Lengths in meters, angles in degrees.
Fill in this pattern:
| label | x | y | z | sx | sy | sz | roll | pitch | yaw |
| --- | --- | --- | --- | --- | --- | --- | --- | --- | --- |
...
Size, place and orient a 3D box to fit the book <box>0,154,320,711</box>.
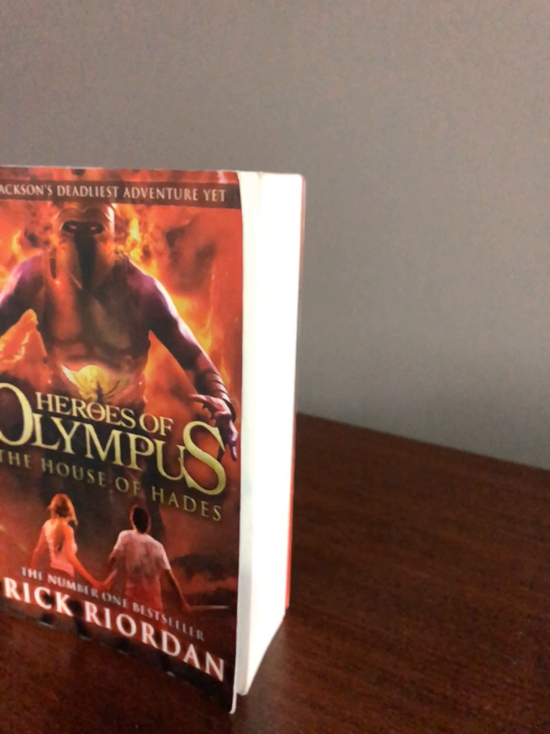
| label | x | y | z | sx | sy | sz | roll | pitch | yaw |
| --- | --- | --- | --- | --- | --- | --- | --- | --- | --- |
| book | -0.062 | 0.018 | 0.260 | 0.140 | 0.199 | 0.060 | 8 | 18 | 21 |
